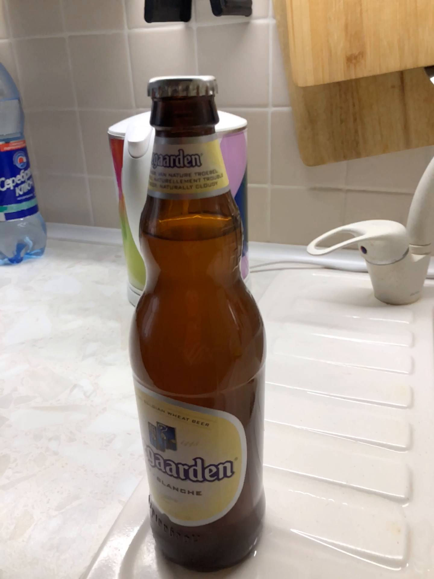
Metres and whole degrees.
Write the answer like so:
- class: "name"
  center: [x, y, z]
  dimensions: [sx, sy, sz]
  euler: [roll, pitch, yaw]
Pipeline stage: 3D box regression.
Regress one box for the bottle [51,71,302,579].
- class: "bottle"
  center: [-0.011, 0.027, 0.223]
  dimensions: [0.070, 0.231, 0.060]
  euler: [16, 30, 35]
